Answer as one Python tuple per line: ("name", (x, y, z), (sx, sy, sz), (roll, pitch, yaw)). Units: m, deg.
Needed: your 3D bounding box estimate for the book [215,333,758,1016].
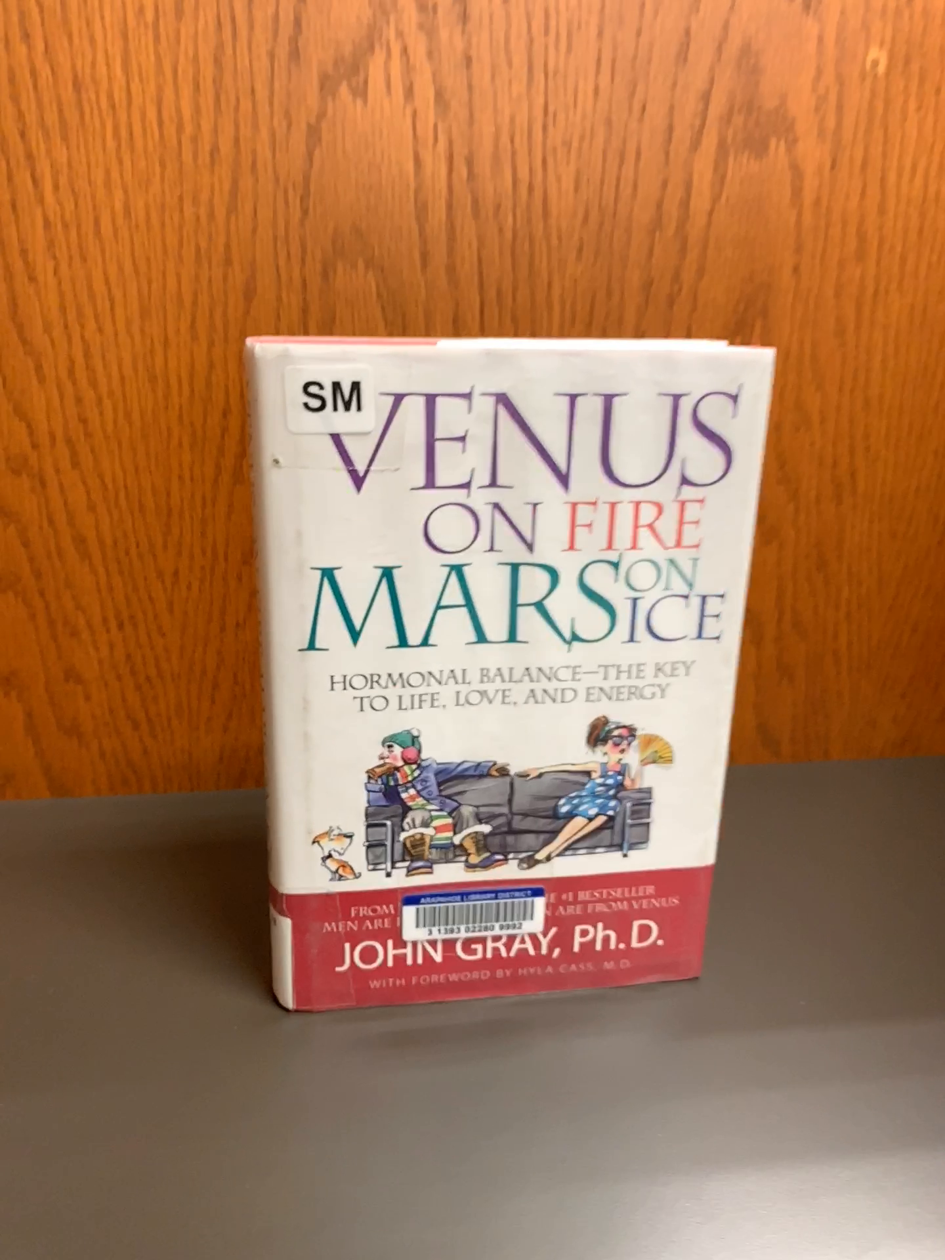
("book", (0.003, 0.018, 0.323), (0.153, 0.220, 0.033), (-2, 19, -8))
